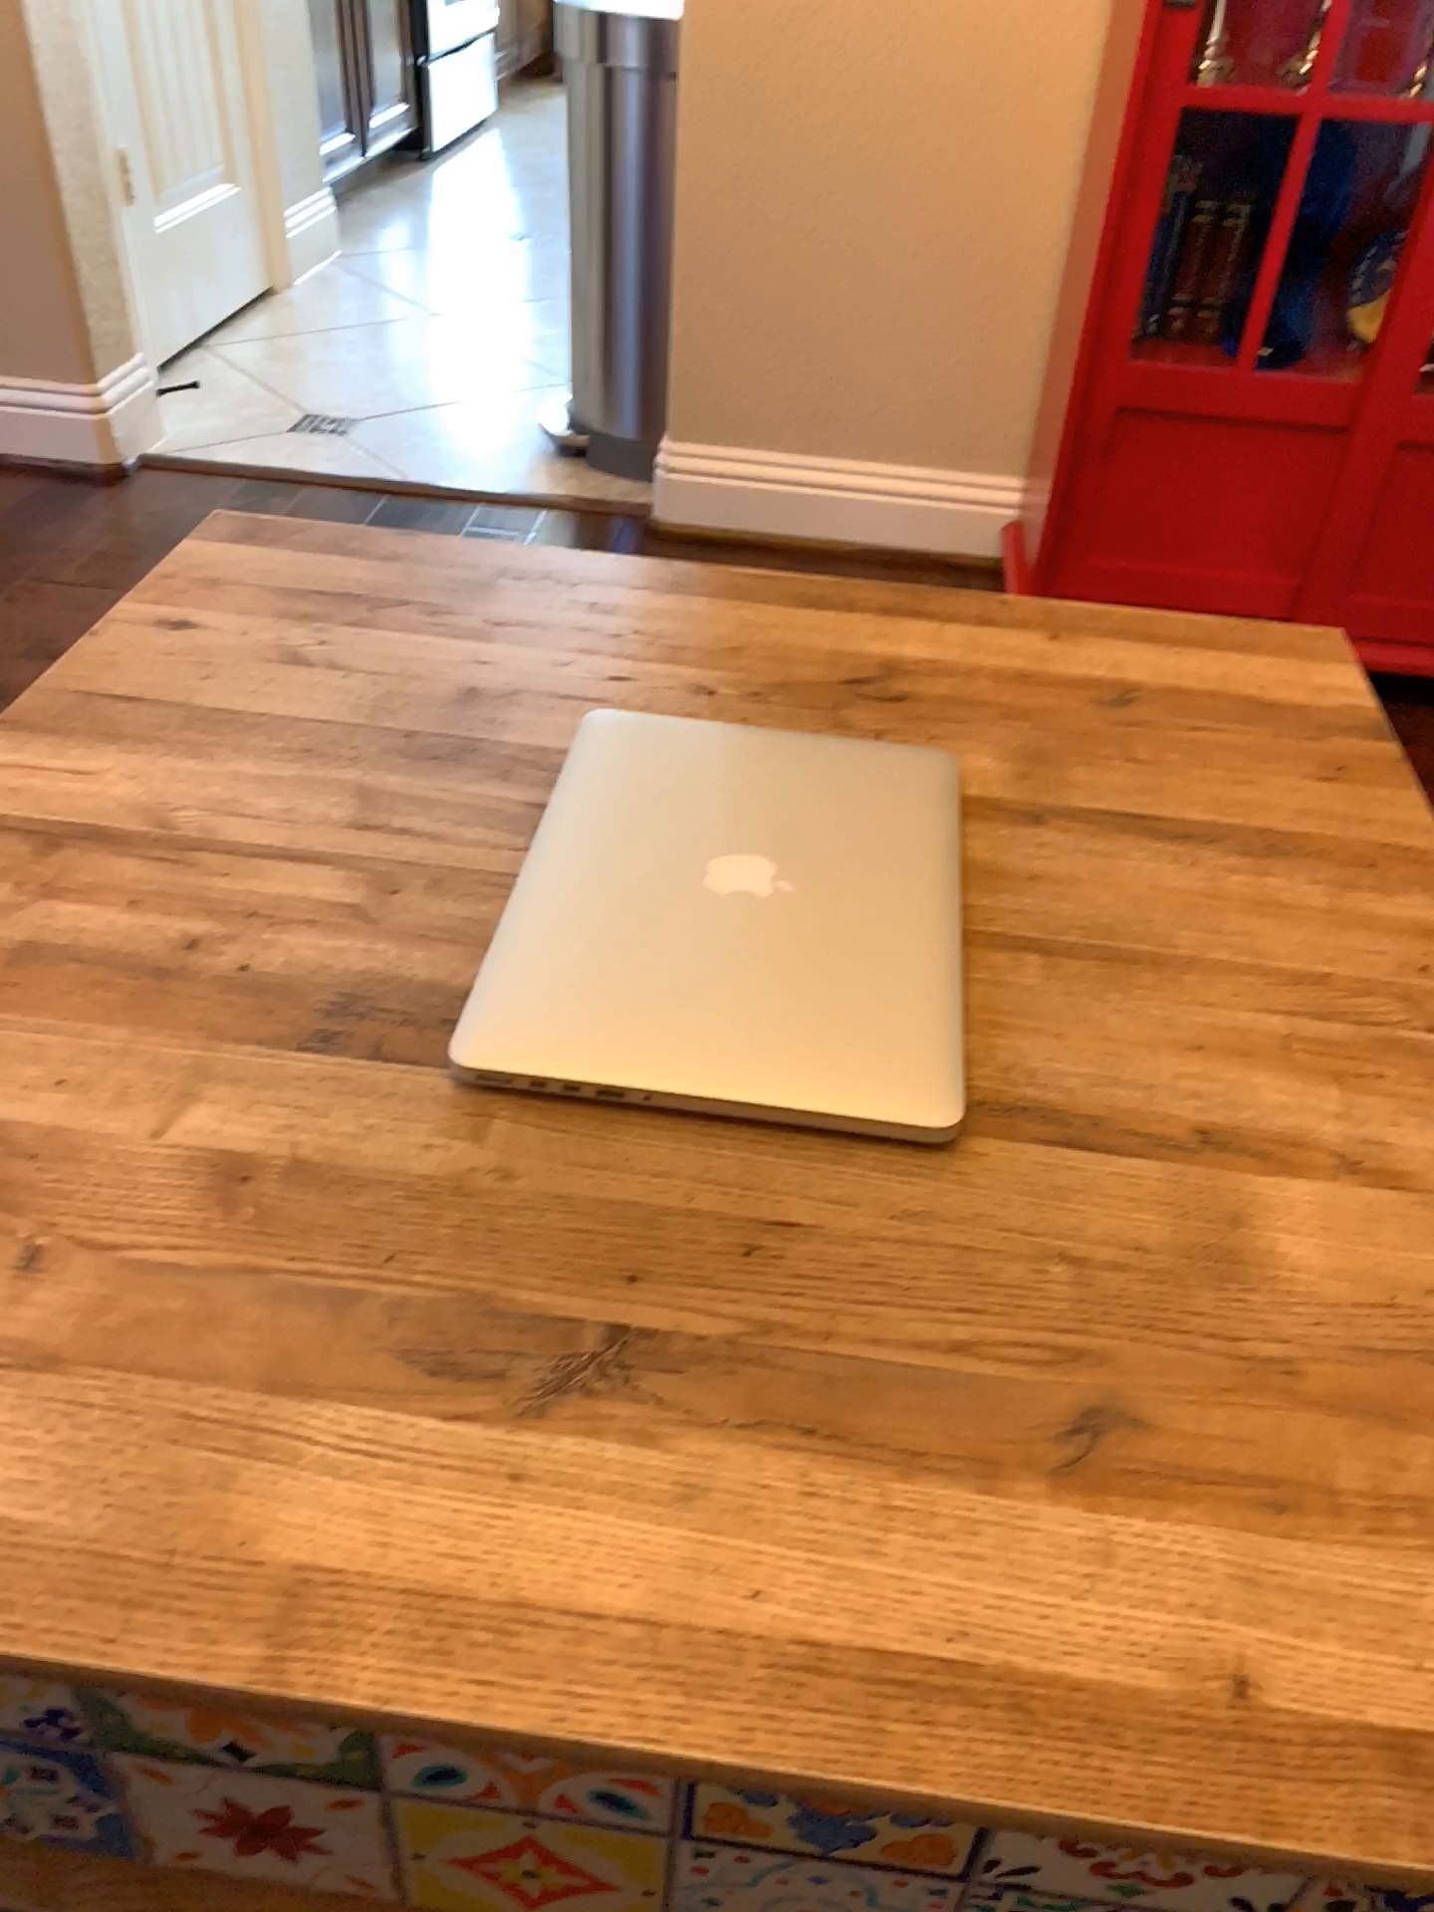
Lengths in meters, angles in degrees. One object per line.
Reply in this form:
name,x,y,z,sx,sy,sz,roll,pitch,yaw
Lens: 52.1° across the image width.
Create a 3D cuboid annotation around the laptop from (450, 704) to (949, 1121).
laptop,0.010,-0.039,0.723,0.208,0.002,0.299,8,38,3
